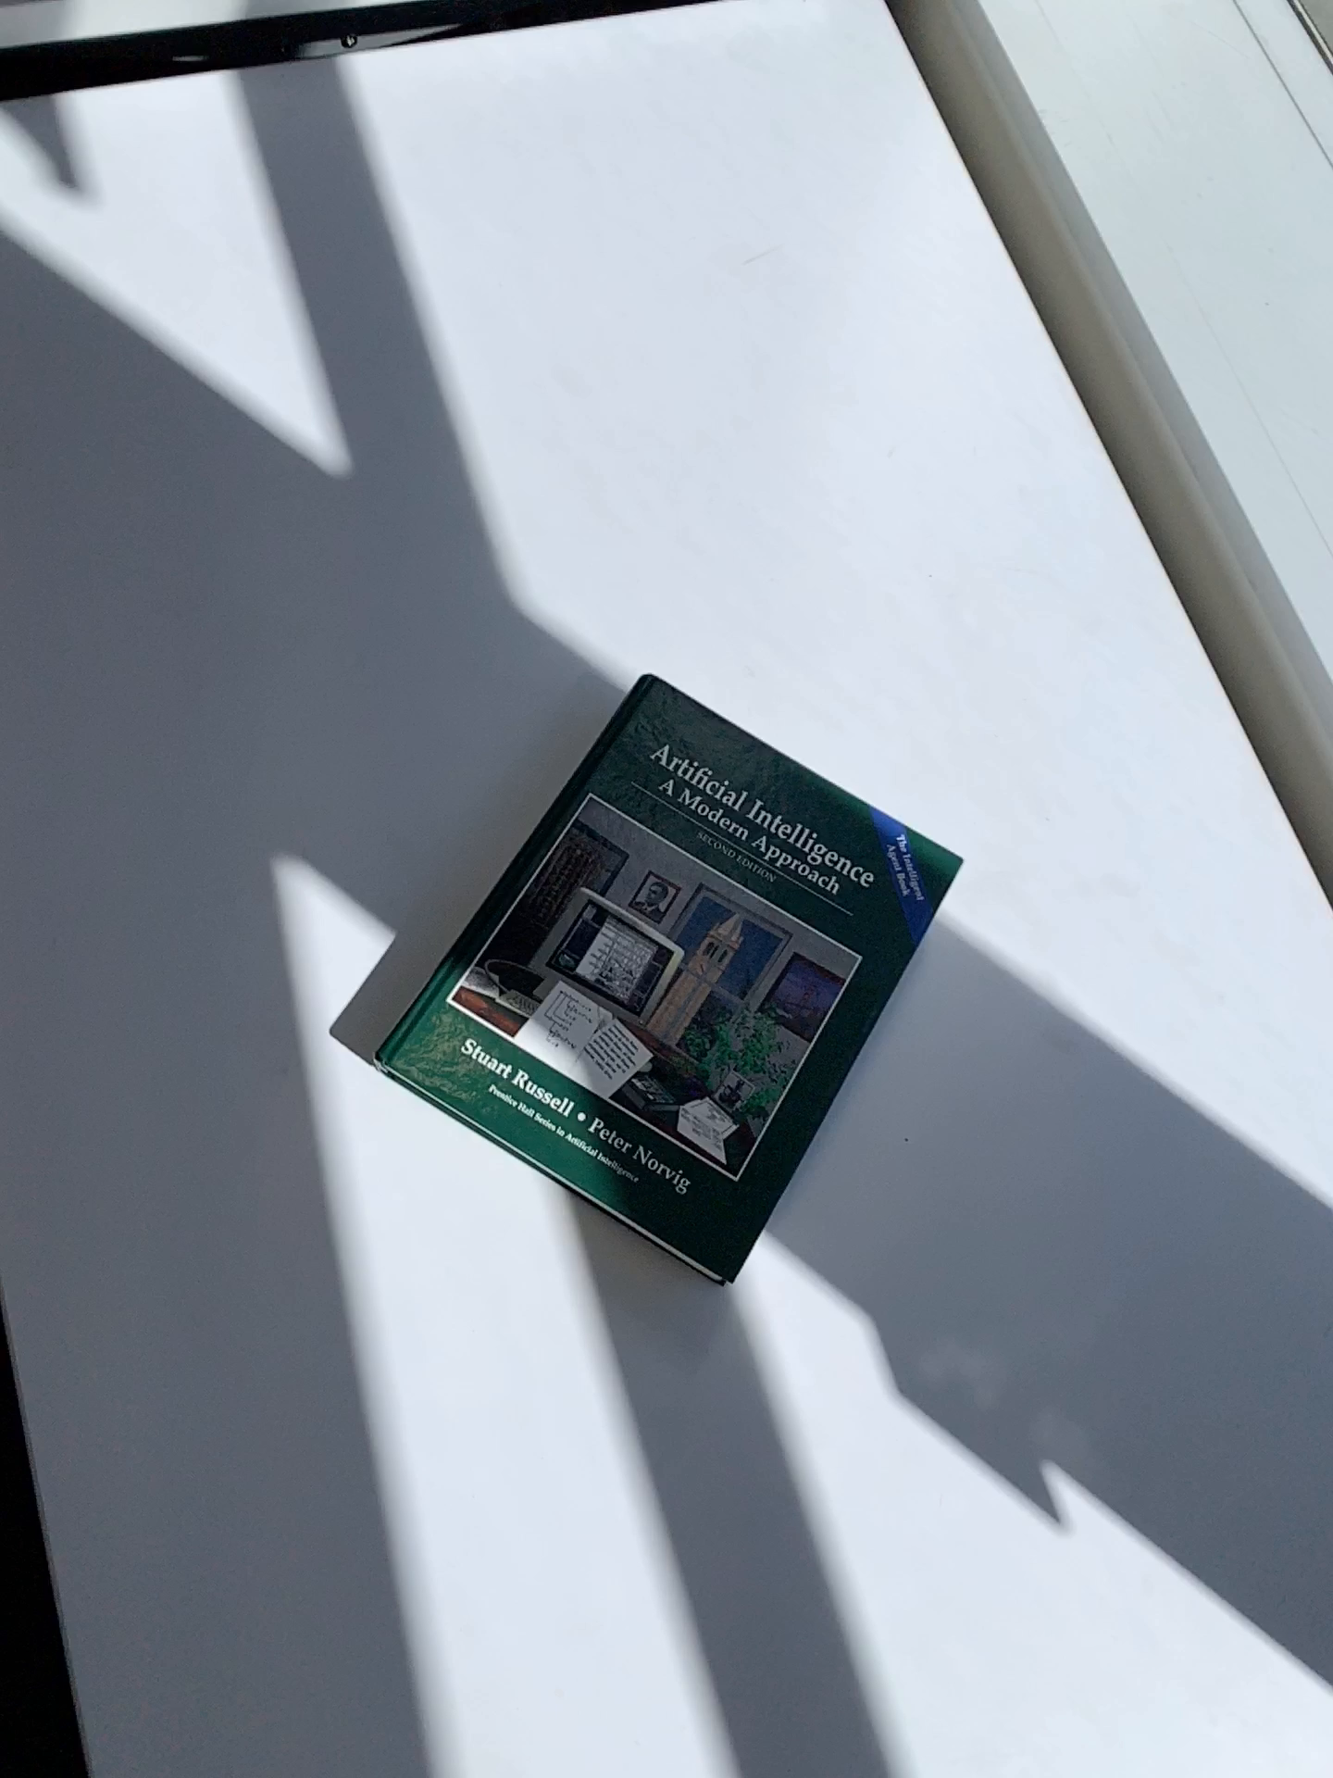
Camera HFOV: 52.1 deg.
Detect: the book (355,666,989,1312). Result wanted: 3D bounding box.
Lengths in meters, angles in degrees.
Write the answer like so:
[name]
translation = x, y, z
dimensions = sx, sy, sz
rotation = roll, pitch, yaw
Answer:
[book]
translation = 0.008, 0.047, 0.731
dimensions = 0.230, 0.050, 0.260
rotation = 31, 70, 4
